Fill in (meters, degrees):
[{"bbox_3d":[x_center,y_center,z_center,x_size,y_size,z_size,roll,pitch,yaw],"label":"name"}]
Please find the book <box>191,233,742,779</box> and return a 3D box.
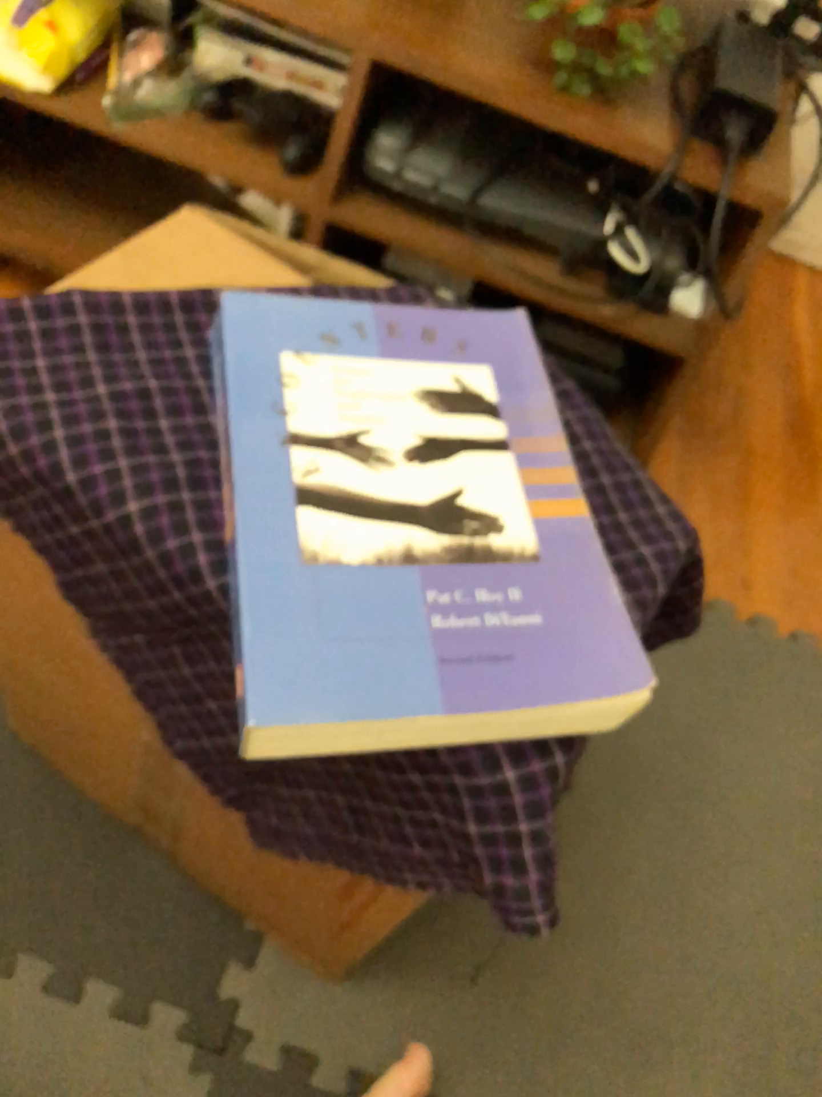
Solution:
[{"bbox_3d":[0.008,-0.035,0.423,0.200,0.040,0.261,0,55,-17],"label":"book"}]
